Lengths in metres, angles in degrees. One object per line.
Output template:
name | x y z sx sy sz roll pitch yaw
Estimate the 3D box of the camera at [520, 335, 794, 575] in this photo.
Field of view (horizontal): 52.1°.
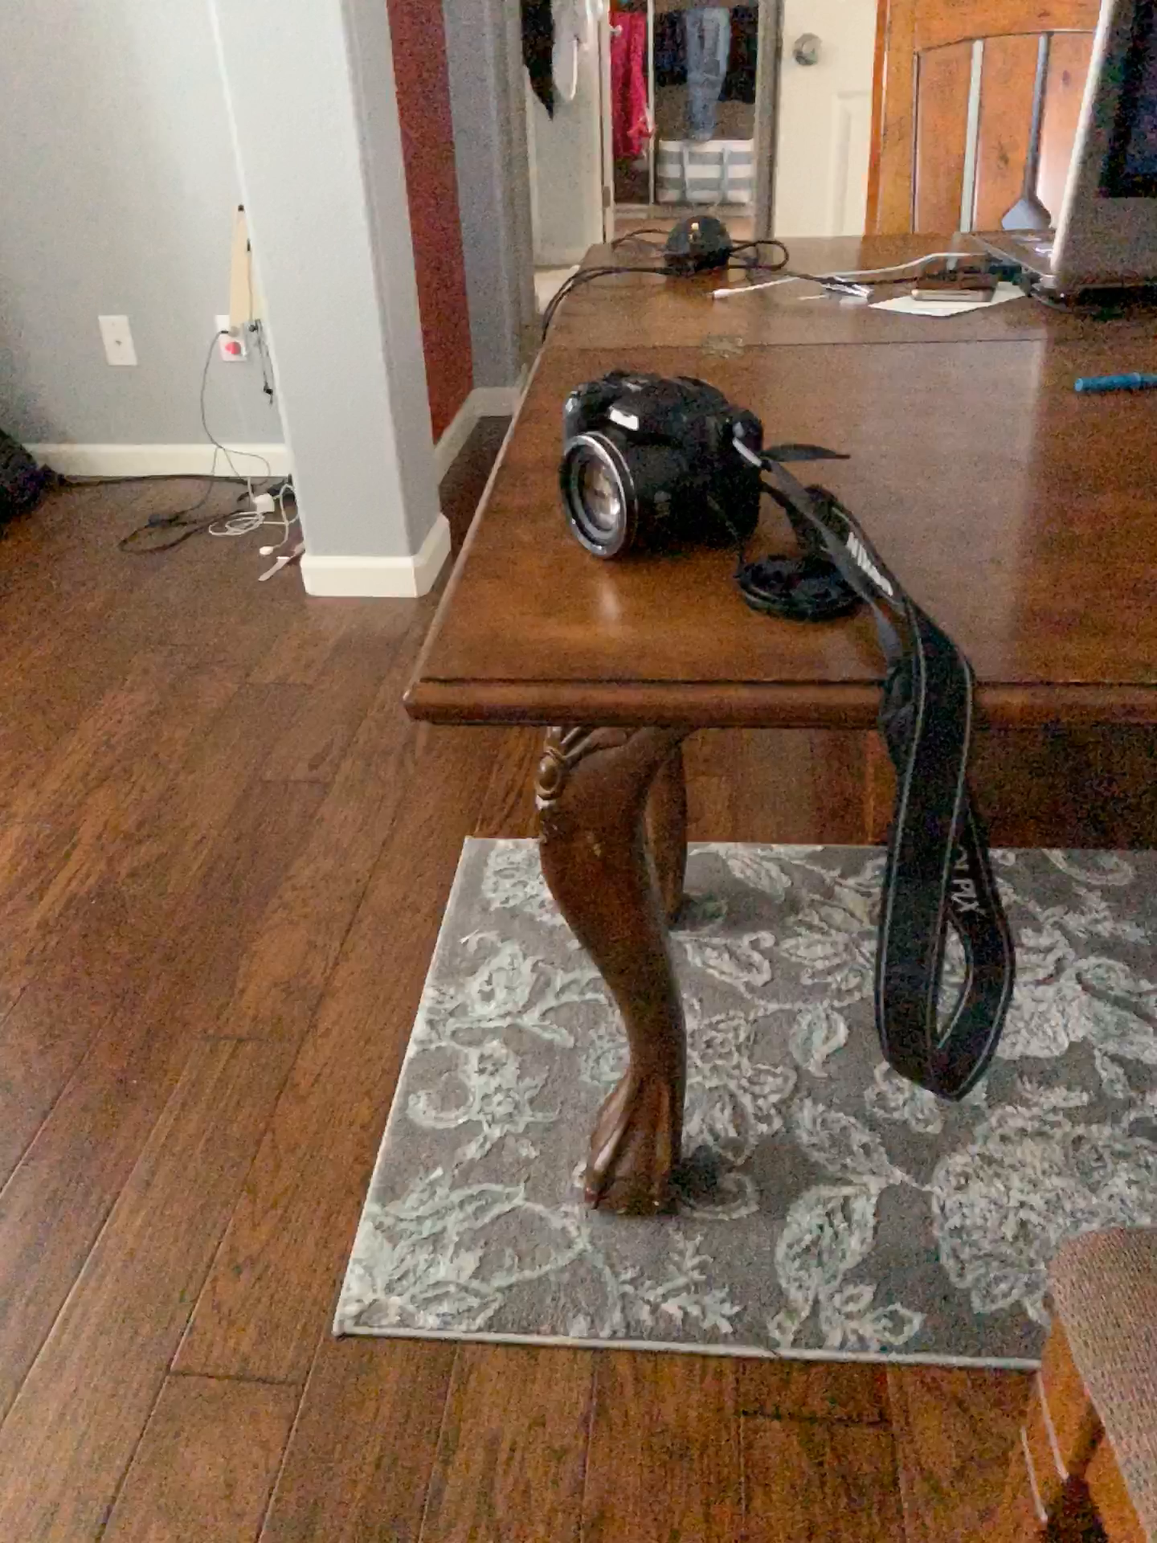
camera | 0.038 -0.168 0.614 0.090 0.079 0.111 -20 37 -26
